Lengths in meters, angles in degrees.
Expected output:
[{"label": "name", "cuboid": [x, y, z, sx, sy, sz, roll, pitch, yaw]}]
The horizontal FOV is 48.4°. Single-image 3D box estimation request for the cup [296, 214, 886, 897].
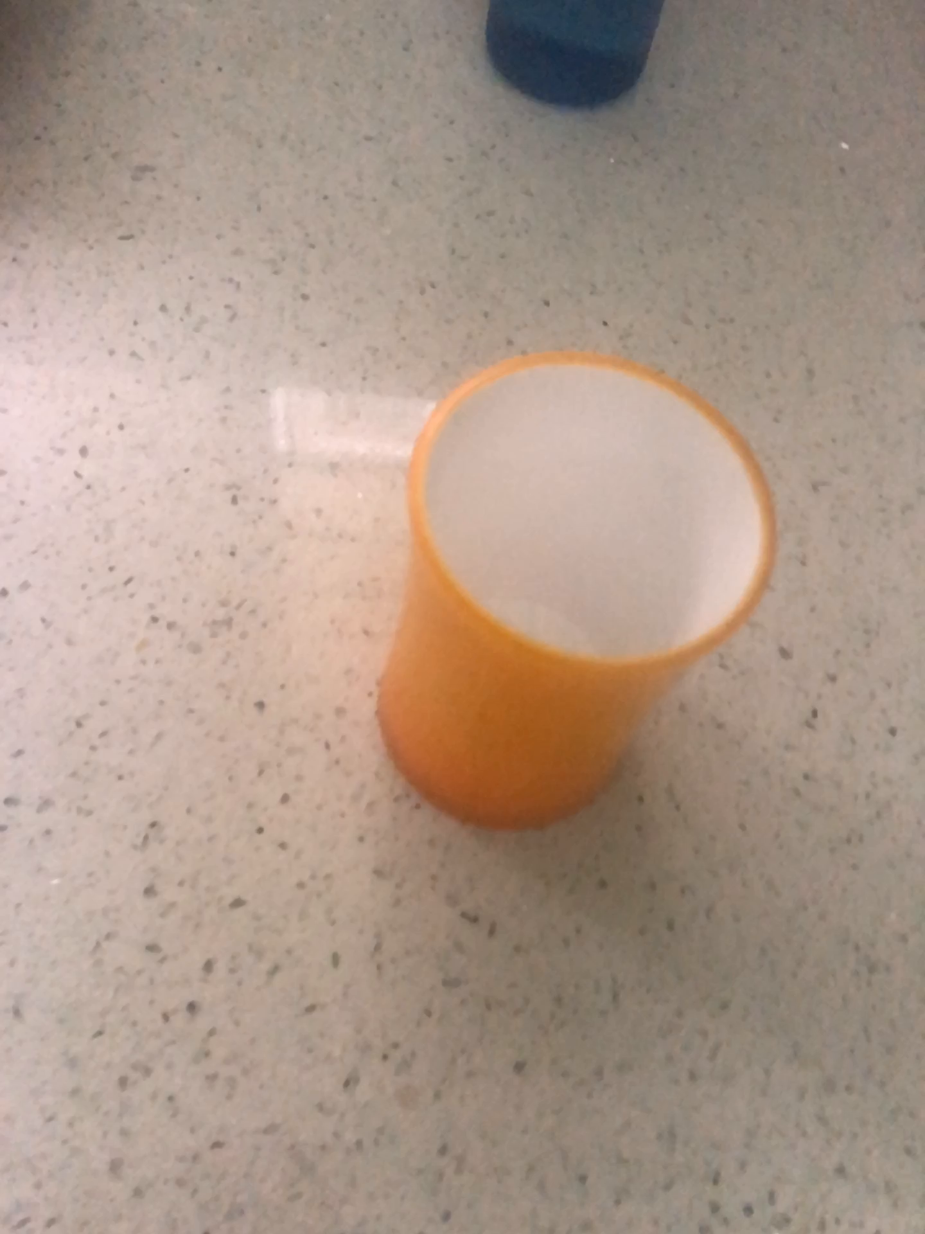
[{"label": "cup", "cuboid": [0.020, -0.006, 0.229, 0.080, 0.110, 0.080, 3, 61, -6]}]
